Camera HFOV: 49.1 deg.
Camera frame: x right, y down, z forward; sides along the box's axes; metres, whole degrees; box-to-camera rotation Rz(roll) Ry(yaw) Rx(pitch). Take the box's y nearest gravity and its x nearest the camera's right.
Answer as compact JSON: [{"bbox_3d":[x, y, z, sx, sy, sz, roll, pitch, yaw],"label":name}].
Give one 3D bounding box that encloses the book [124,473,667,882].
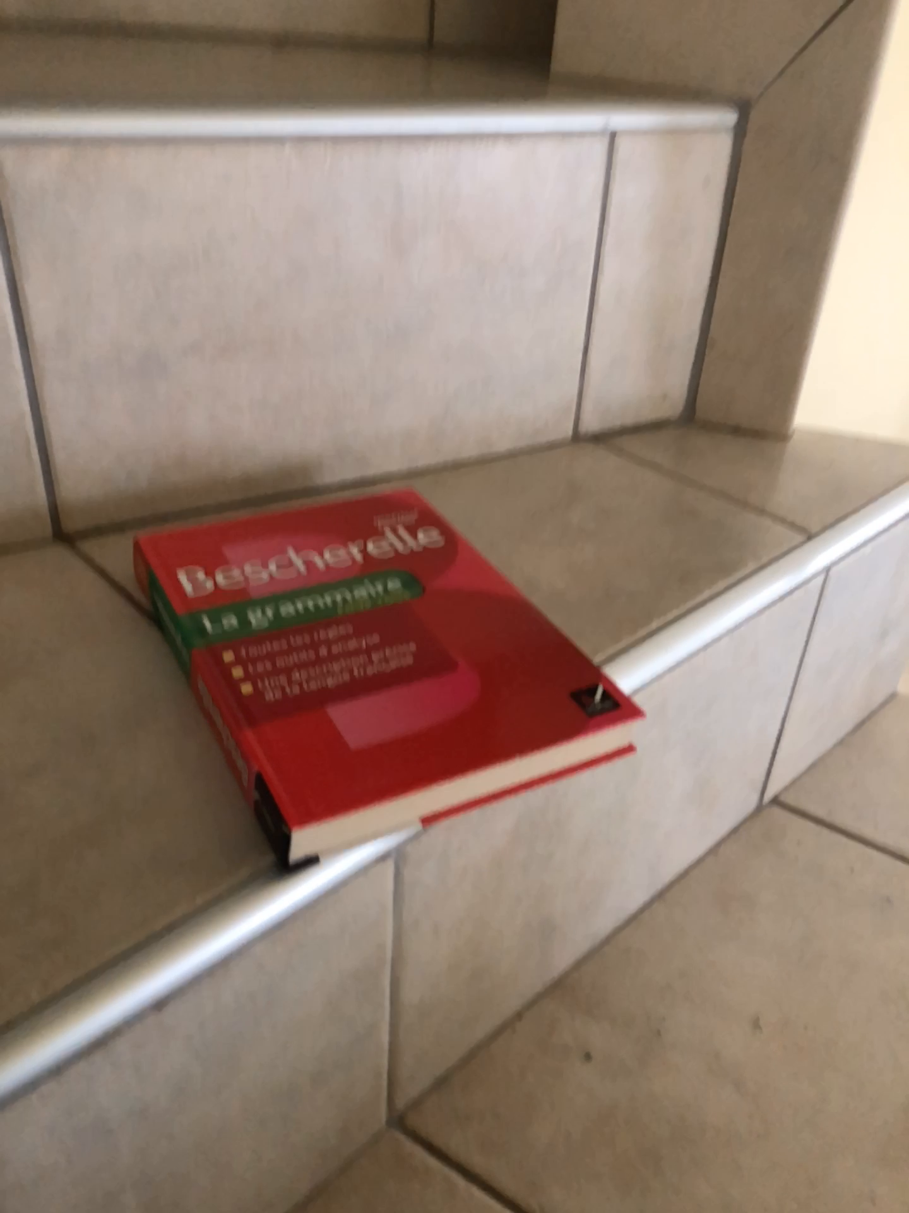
[{"bbox_3d":[-0.035,0.008,0.400,0.143,0.020,0.201,-14,37,-25],"label":"book"}]
